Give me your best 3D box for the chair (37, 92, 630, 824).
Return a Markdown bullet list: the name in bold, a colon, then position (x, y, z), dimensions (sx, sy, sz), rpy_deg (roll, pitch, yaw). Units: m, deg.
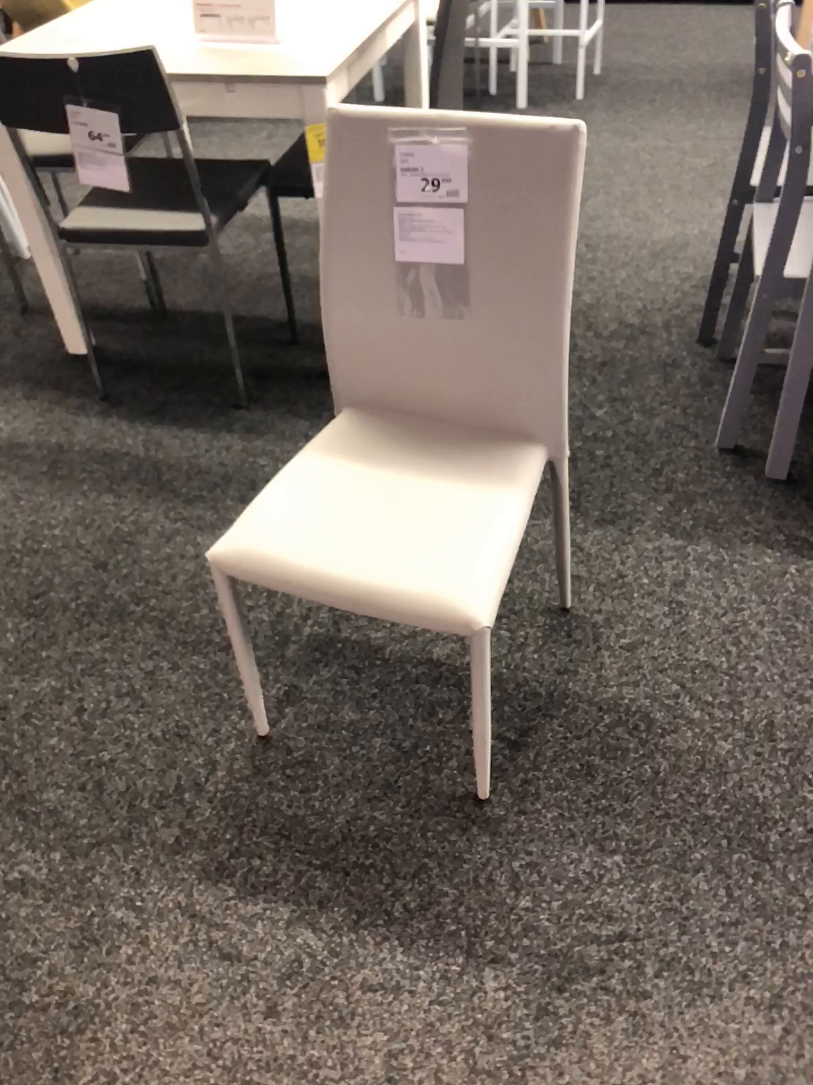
- **chair**: position (-0.022, -0.116, 1.290), dimensions (0.500, 0.815, 0.544), rpy_deg (12, 44, 17)
